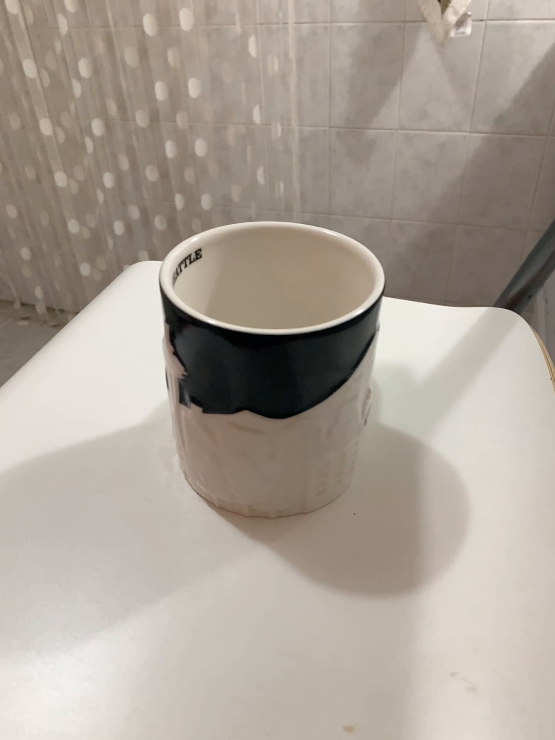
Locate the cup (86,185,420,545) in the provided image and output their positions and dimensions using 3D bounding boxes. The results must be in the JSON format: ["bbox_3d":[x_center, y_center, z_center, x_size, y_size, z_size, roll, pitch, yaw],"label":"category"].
[{"bbox_3d":[0.003,-0.015,0.284,0.104,0.100,0.144,10,39,17],"label":"cup"}]
